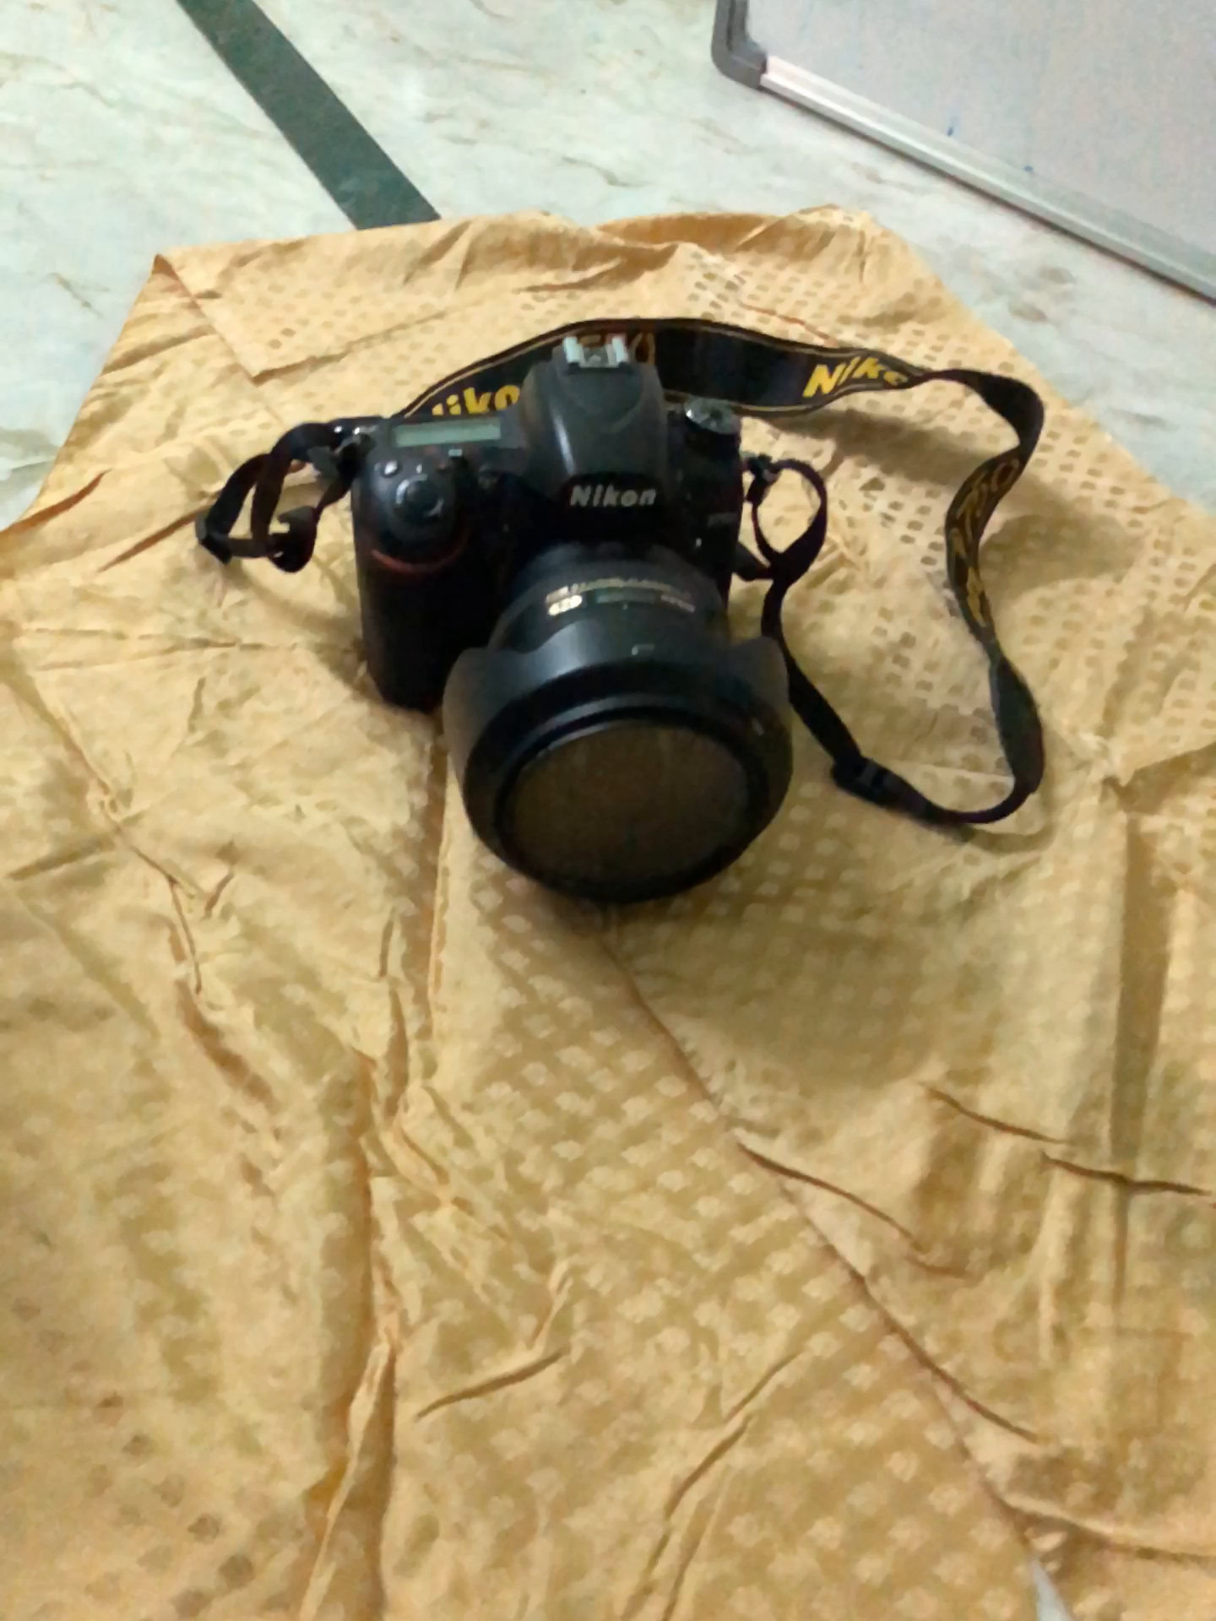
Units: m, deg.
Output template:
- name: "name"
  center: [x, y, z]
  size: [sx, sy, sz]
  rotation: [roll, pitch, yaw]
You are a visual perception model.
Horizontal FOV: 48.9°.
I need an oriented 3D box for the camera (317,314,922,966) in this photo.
- name: "camera"
  center: [-0.010, -0.059, 0.422]
  size: [0.149, 0.109, 0.171]
  rotation: [-4, 51, -8]
